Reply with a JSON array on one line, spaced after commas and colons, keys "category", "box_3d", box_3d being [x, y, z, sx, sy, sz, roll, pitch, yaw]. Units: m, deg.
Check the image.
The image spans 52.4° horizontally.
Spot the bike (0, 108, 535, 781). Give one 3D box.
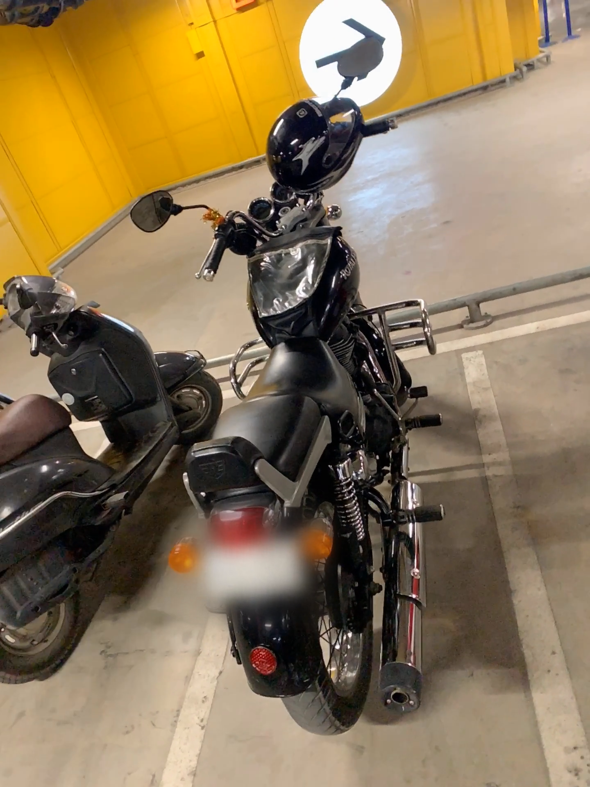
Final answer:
[{"category": "bike", "box_3d": [0.026, -0.100, 2.070, 0.829, 1.228, 2.084, -14, 29, 13]}]
